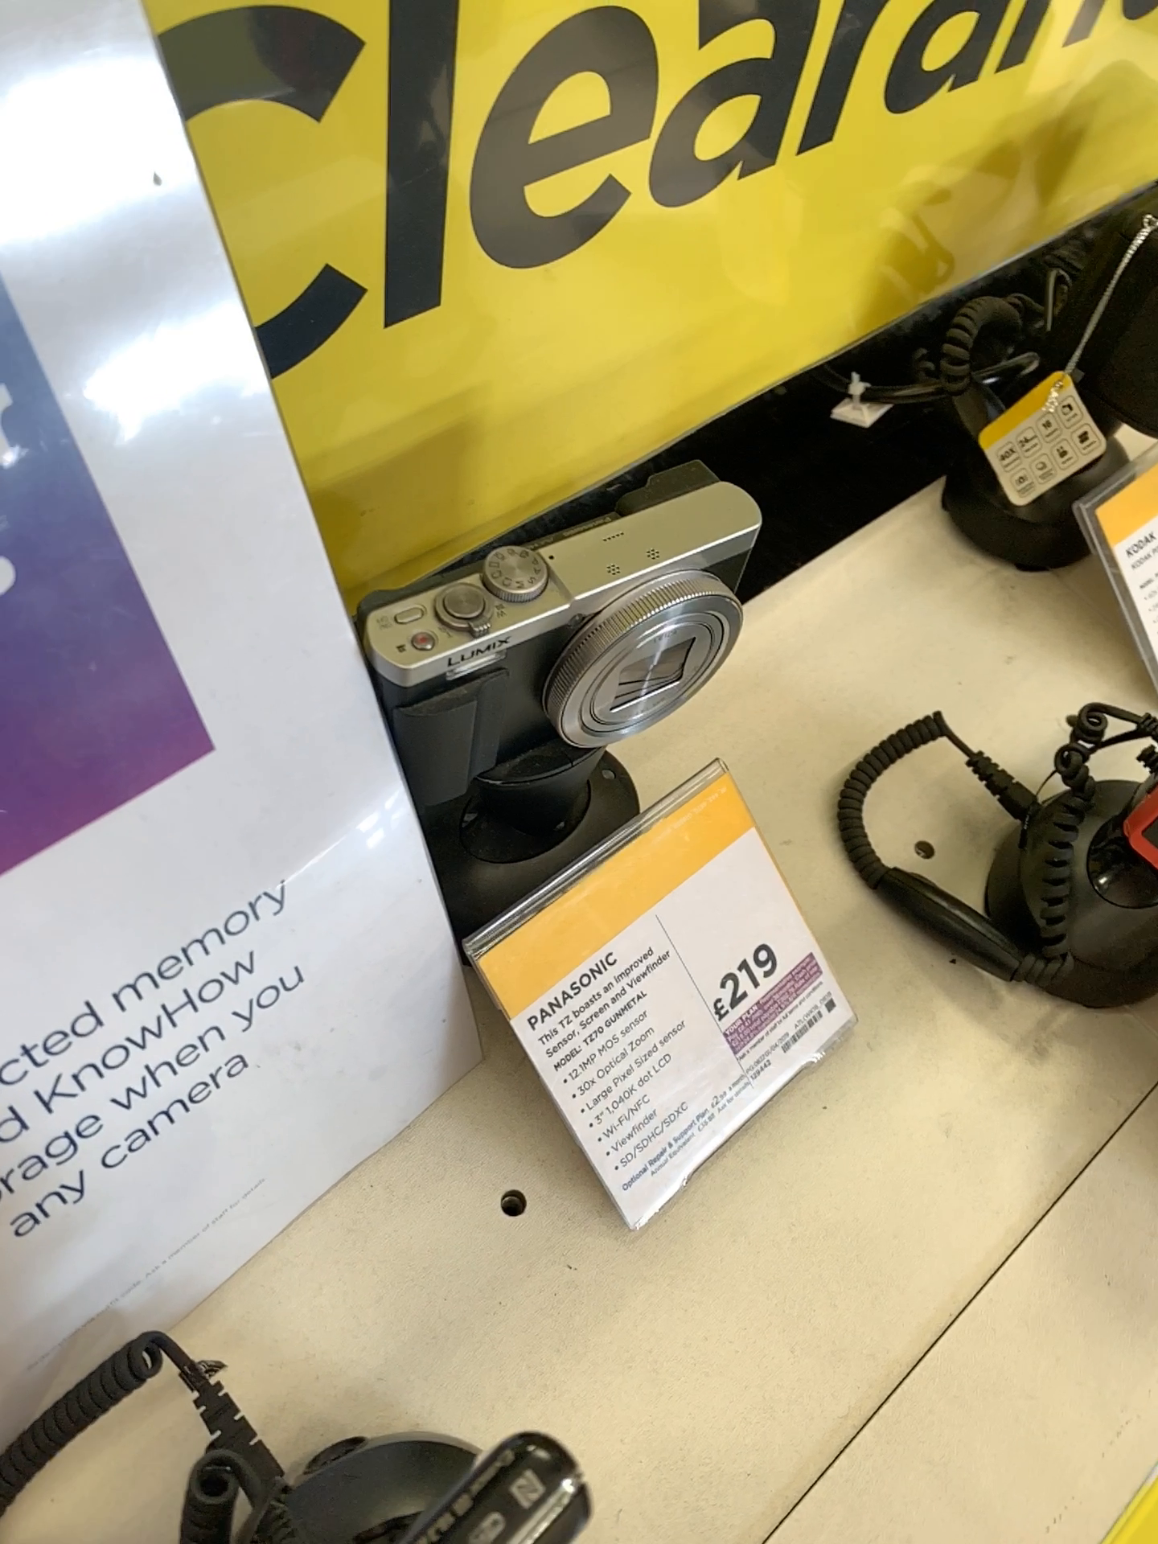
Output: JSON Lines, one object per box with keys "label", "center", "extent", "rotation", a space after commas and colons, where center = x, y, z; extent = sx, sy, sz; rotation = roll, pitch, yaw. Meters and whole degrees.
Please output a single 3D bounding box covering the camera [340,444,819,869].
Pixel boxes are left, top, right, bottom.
{"label": "camera", "center": [-0.002, -0.030, 0.309], "extent": [0.110, 0.070, 0.040], "rotation": [-26, 65, -23]}
